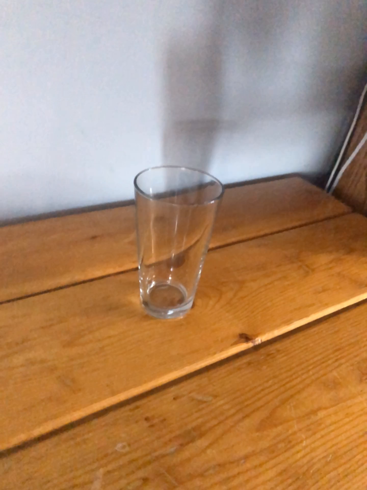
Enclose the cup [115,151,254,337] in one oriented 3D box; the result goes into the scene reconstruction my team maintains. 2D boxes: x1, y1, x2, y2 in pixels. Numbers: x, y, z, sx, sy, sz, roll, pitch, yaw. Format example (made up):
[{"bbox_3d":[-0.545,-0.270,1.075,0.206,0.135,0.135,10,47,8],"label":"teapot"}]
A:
[{"bbox_3d":[-0.006,-0.003,0.425,0.090,0.149,0.090,6,34,-4],"label":"cup"}]
